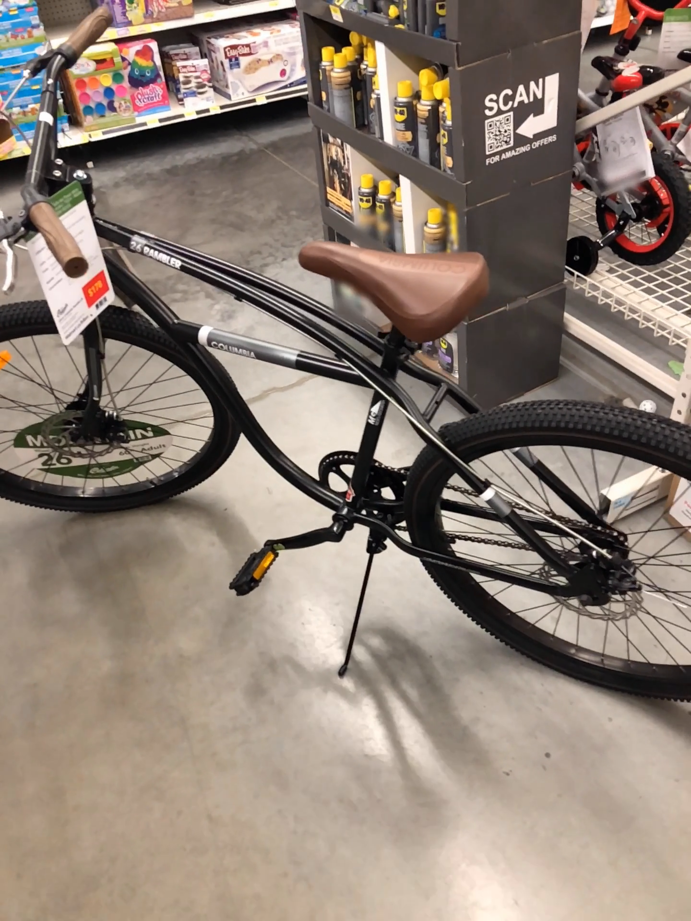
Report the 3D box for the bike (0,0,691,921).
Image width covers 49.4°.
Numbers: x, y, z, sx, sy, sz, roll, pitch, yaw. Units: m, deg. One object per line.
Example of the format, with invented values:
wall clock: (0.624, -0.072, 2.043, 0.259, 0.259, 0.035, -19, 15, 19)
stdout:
bike: (-0.127, -0.084, 1.074, 1.584, 0.975, 0.655, 15, 45, 16)
